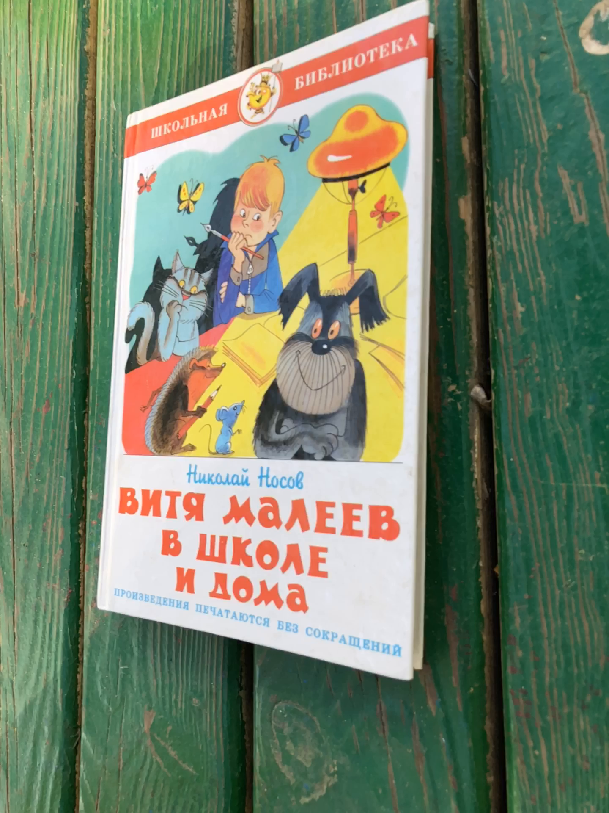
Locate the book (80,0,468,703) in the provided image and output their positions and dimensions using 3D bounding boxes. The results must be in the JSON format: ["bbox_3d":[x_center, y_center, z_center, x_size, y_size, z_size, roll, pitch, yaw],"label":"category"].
[{"bbox_3d":[-0.018,-0.023,0.244,0.146,0.020,0.212,0,85,35],"label":"book"}]
